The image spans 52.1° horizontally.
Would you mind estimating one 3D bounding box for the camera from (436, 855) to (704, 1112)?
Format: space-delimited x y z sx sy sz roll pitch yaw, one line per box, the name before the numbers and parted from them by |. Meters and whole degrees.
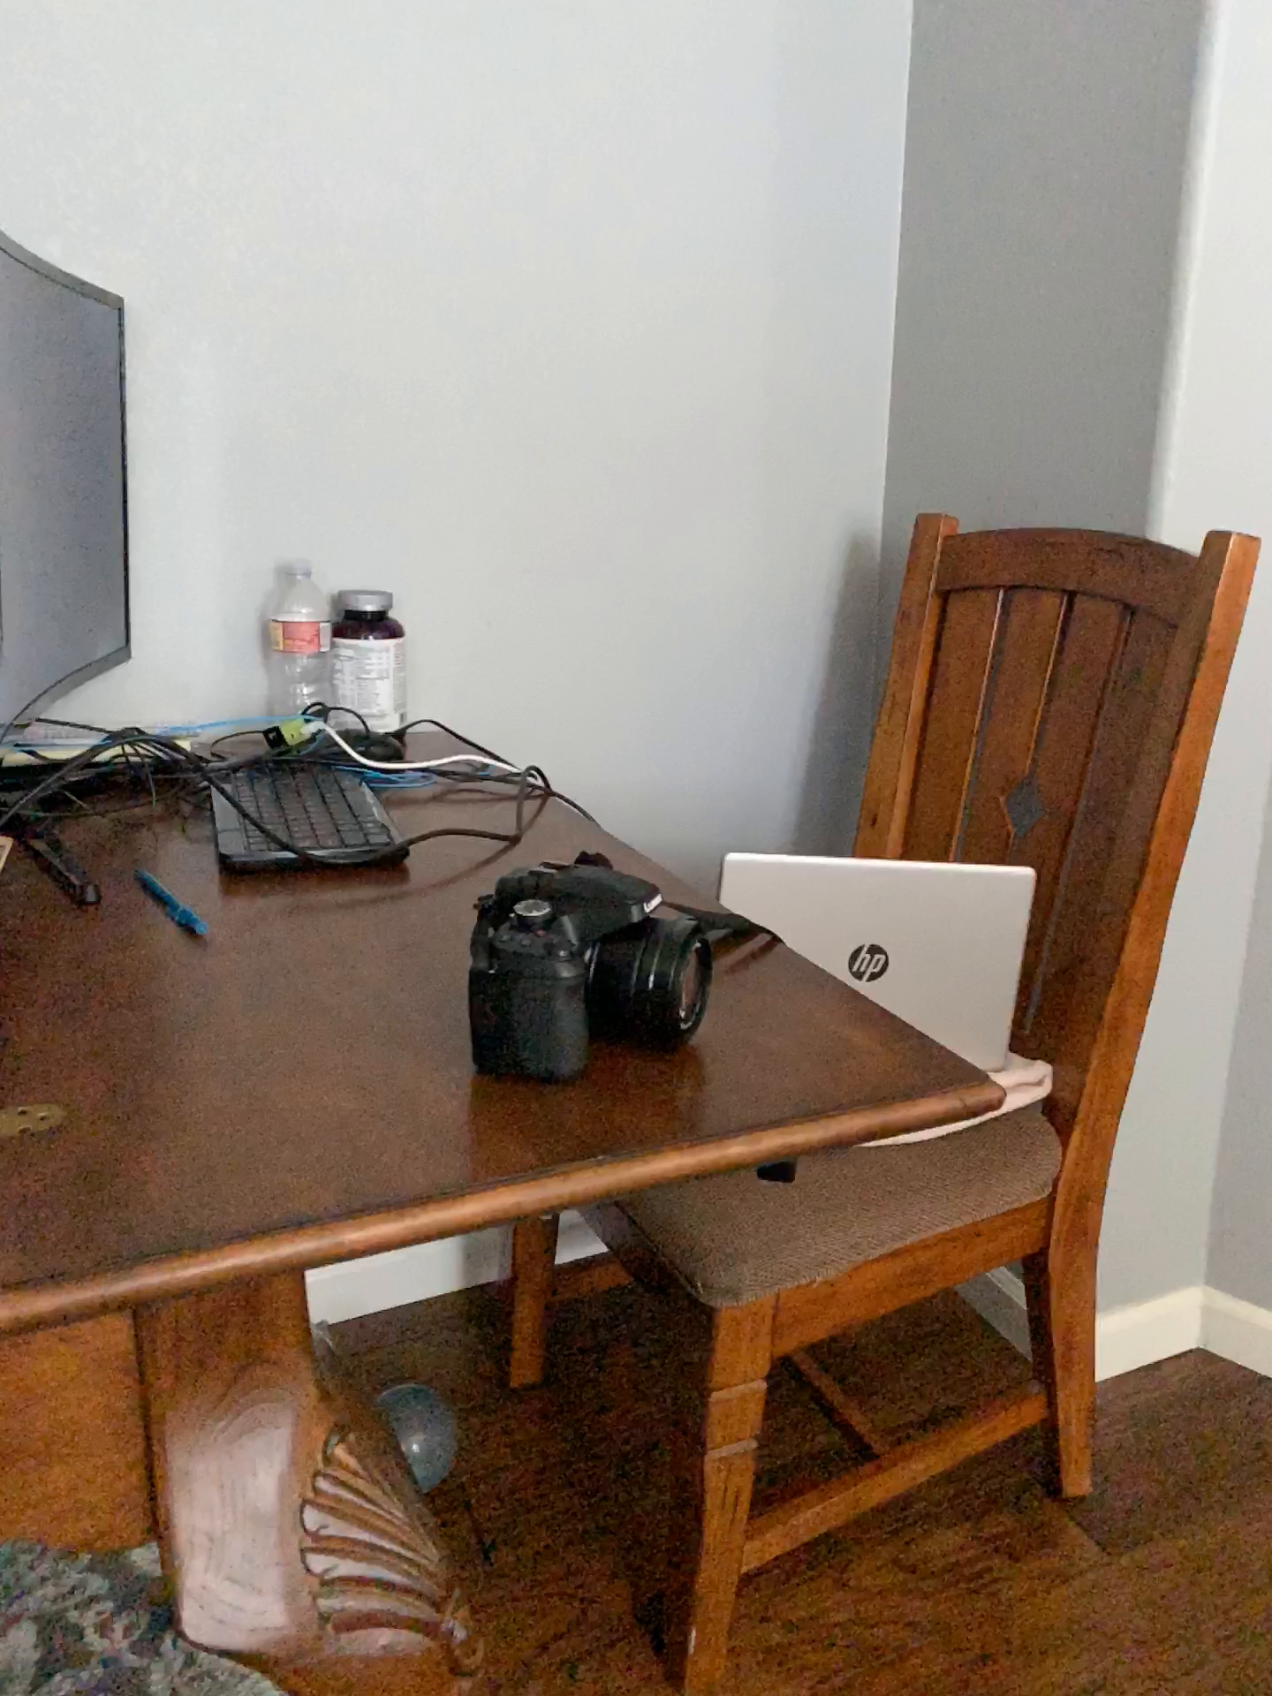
camera | -0.034 0.072 0.747 0.110 0.089 0.131 7 18 19
